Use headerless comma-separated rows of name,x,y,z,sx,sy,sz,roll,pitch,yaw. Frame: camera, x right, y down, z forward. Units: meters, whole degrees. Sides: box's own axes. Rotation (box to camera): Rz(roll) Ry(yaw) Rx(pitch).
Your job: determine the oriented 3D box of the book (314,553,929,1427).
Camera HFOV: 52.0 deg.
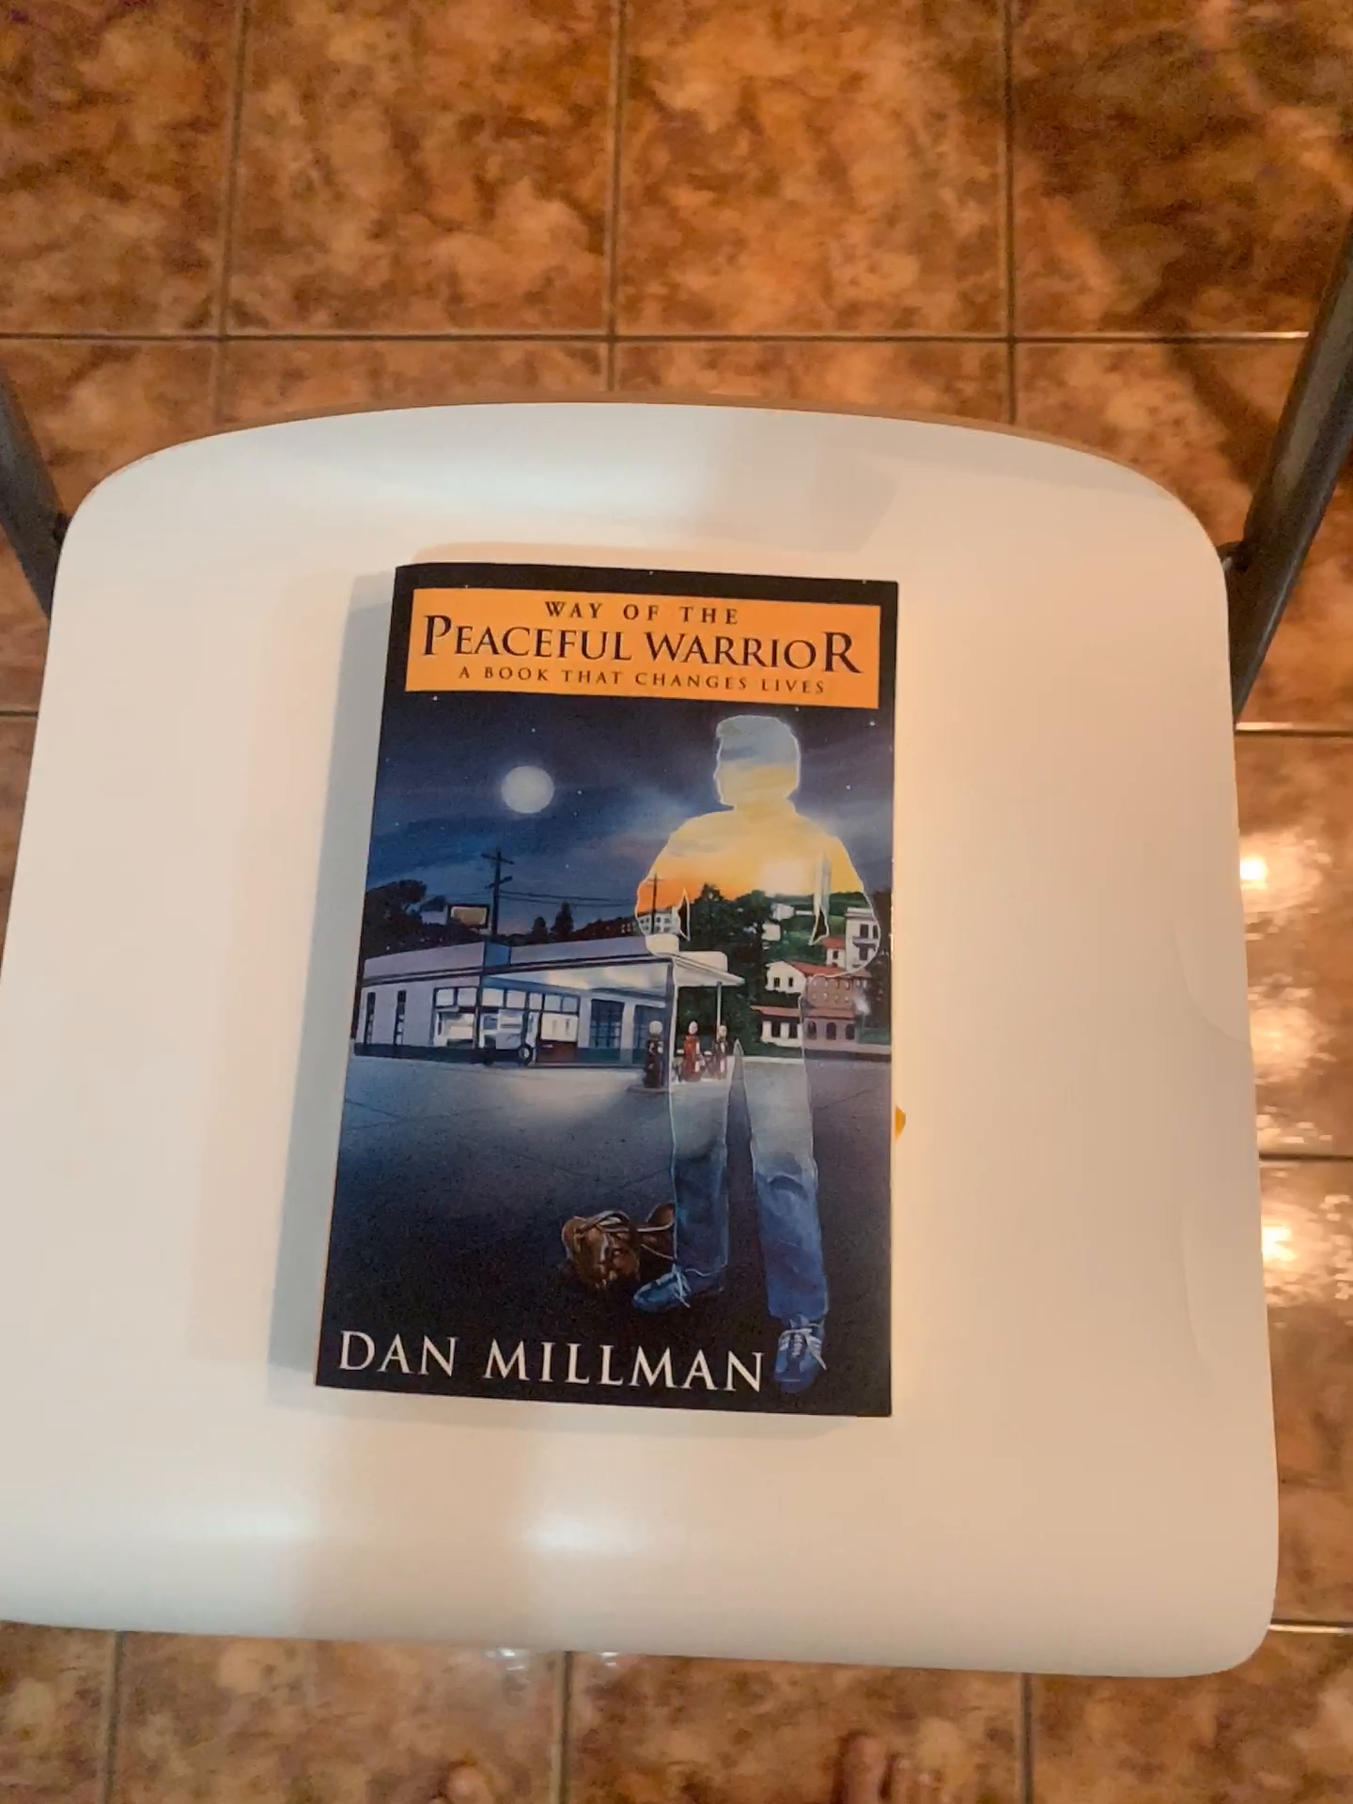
book,-0.010,0.019,0.363,0.141,0.039,0.210,3,82,3
